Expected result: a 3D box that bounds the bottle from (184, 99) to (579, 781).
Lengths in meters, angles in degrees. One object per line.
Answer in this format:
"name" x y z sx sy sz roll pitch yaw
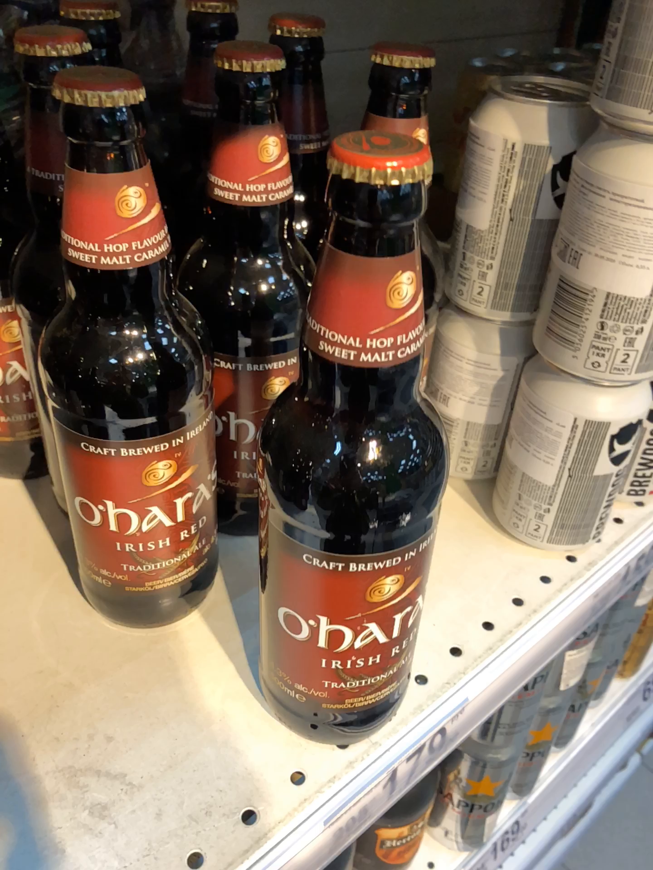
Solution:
"bottle" 0.003 0.017 0.273 0.080 0.245 0.080 3 38 -2
